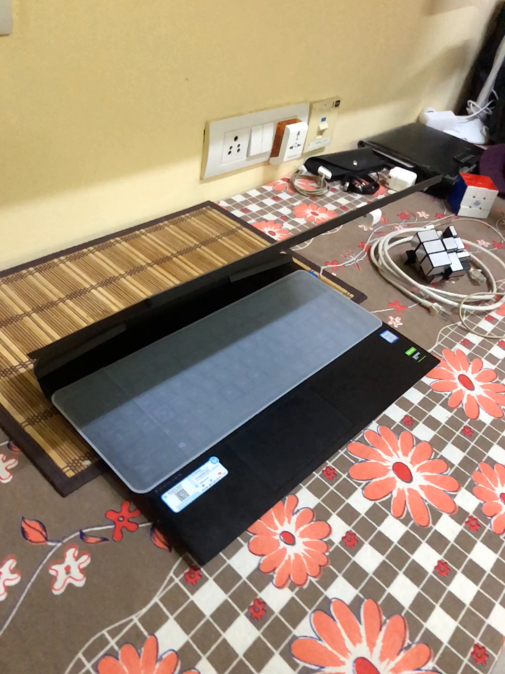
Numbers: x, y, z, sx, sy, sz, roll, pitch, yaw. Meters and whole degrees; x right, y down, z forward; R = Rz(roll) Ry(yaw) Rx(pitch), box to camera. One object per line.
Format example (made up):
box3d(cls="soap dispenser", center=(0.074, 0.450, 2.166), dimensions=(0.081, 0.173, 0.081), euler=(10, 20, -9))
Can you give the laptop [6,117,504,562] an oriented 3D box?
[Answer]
box3d(cls="laptop", center=(0.016, -0.038, 0.514), dimensions=(0.357, 0.164, 0.237), euler=(-30, 58, -36))
